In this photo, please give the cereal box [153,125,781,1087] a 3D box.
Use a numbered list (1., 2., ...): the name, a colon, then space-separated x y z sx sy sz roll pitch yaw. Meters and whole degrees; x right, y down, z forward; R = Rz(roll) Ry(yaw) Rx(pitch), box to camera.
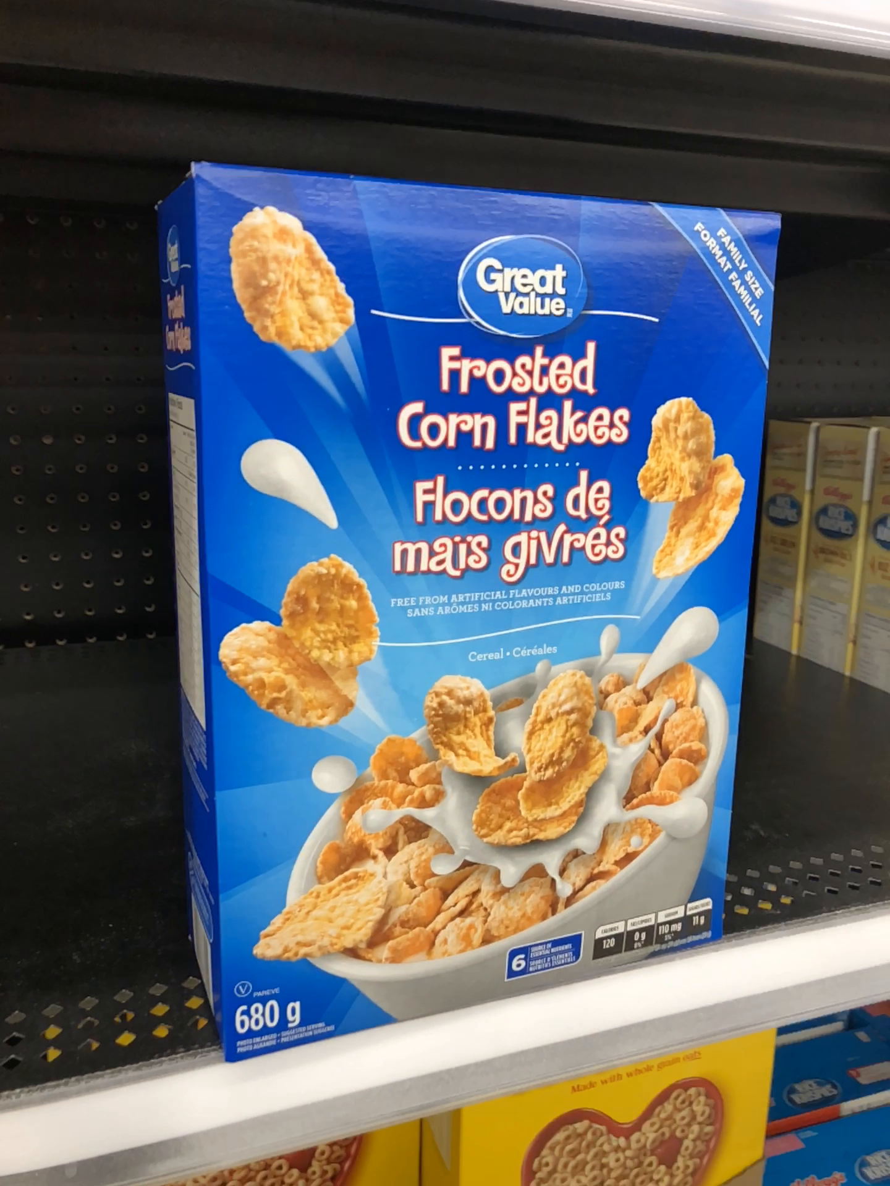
1. cereal box: 0.007 0.003 0.384 0.210 0.309 0.080 -5 14 -23
